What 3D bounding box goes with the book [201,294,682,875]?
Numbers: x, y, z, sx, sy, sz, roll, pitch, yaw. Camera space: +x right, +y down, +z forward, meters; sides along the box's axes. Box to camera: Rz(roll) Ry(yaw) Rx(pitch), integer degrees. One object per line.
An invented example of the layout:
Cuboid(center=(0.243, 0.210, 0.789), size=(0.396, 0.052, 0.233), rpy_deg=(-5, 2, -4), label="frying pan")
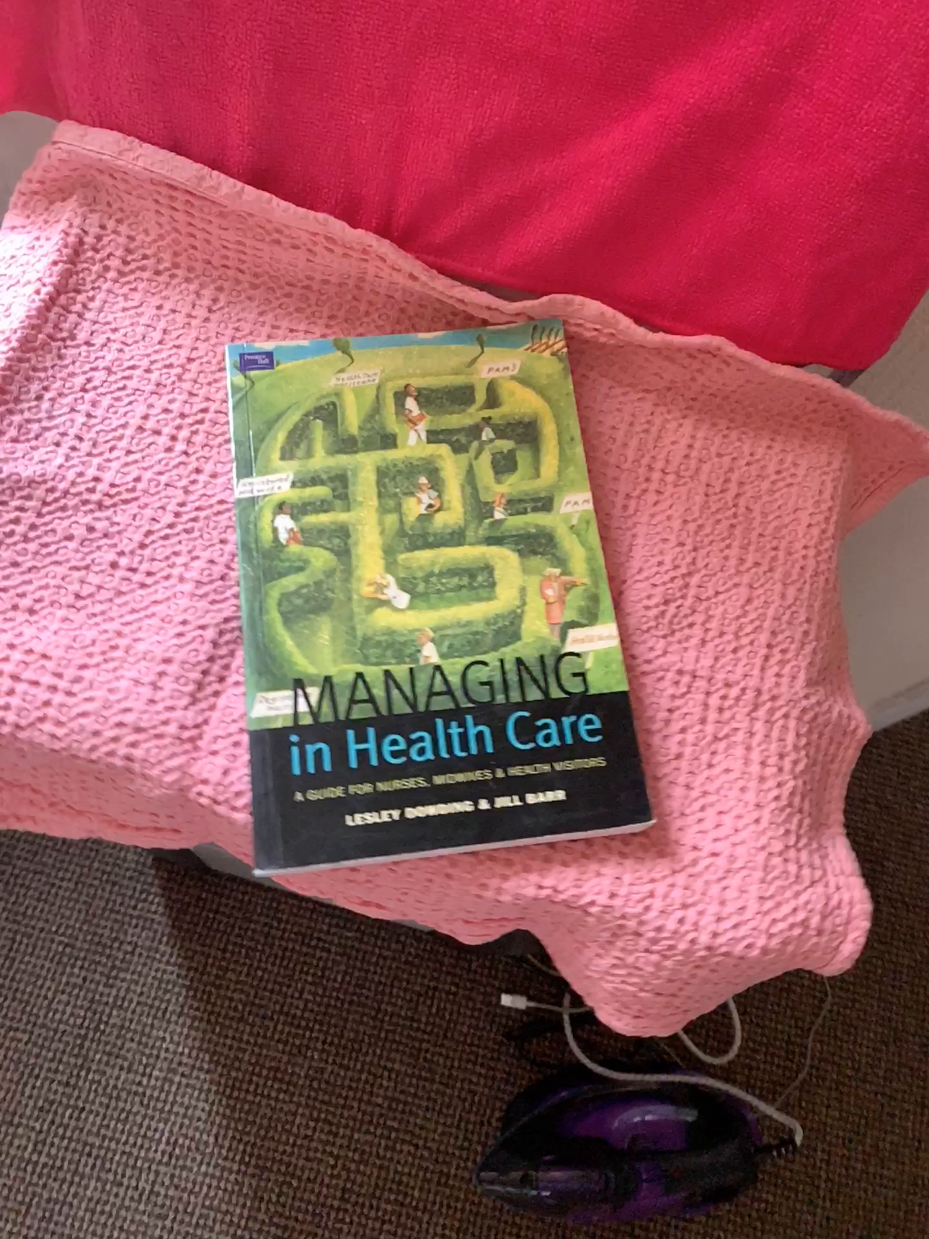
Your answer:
Cuboid(center=(-0.017, -0.028, 0.400), size=(0.170, 0.020, 0.241), rpy_deg=(-5, 71, -9), label="book")
